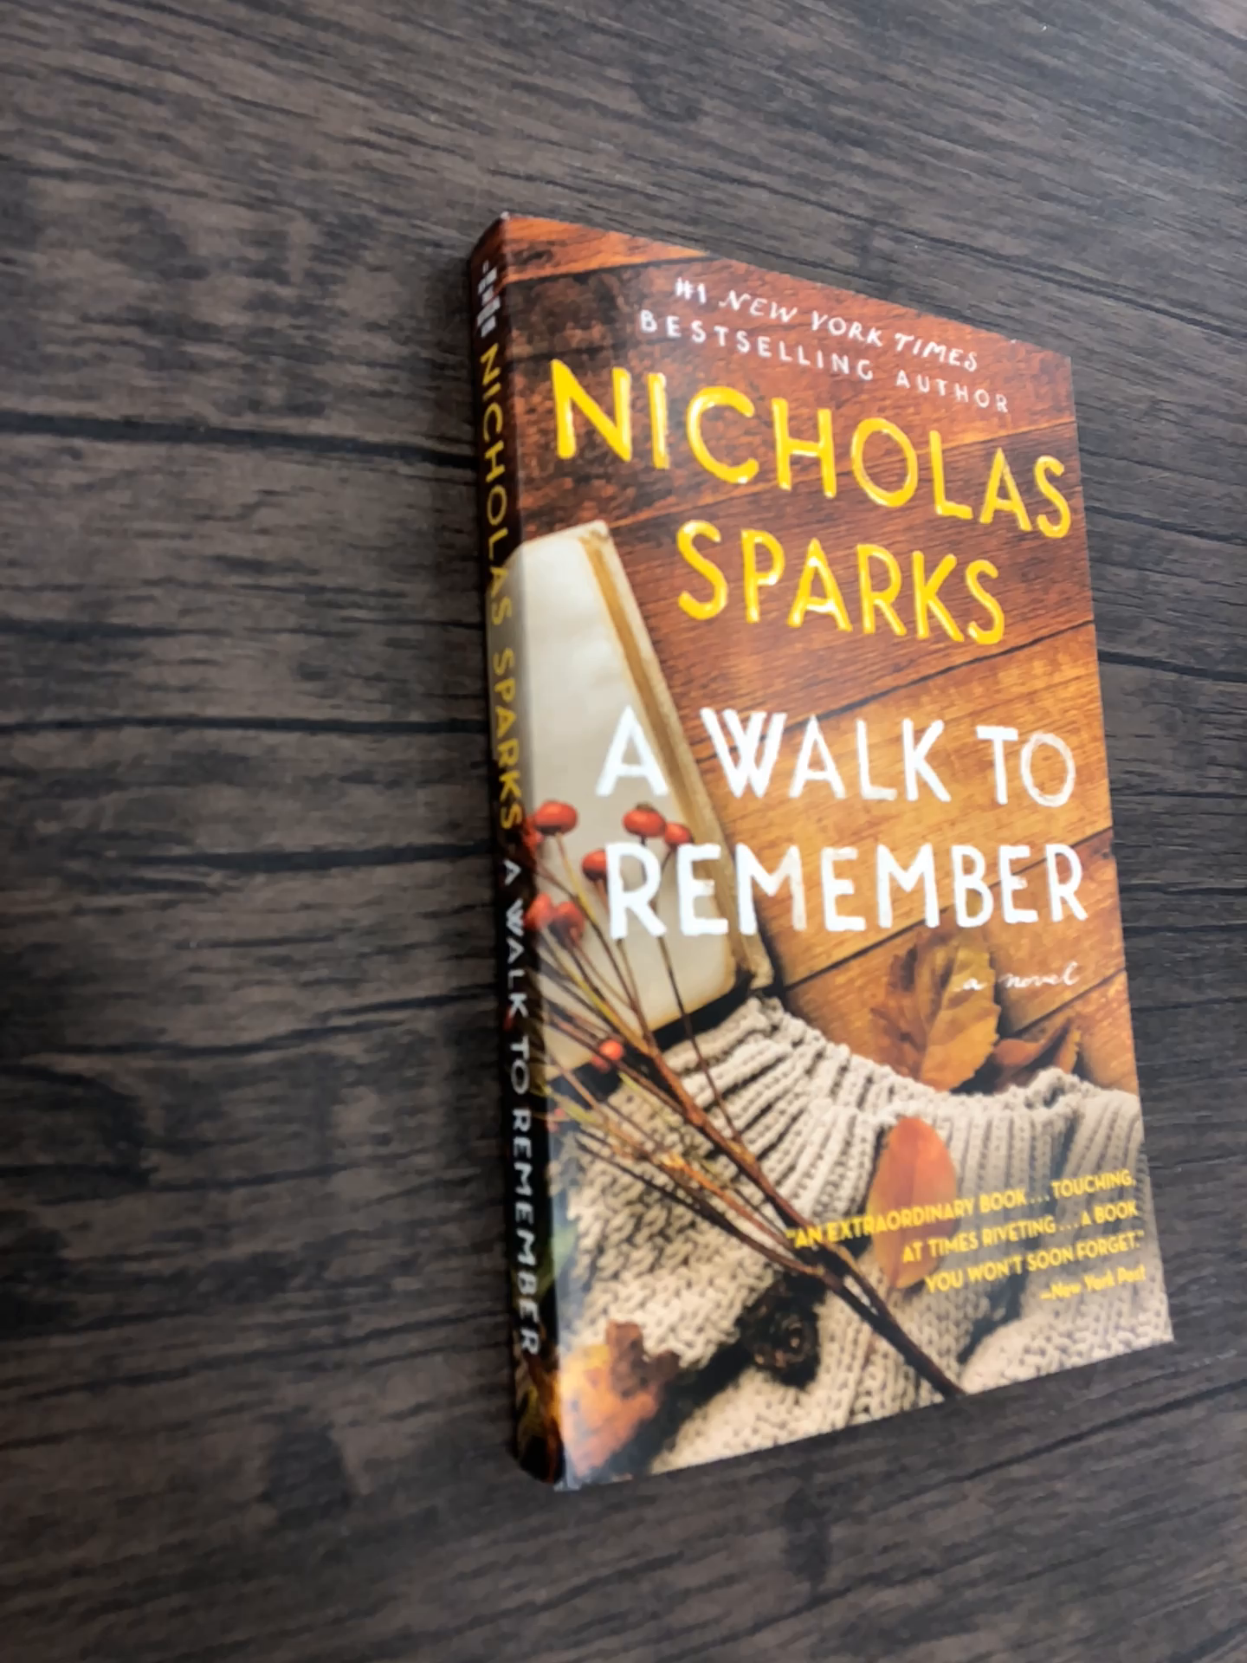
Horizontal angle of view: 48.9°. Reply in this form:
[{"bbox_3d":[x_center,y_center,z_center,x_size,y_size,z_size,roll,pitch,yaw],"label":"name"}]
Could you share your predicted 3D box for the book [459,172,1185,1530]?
[{"bbox_3d":[0.040,0.000,0.244,0.132,0.020,0.200,0,84,-31],"label":"book"}]
